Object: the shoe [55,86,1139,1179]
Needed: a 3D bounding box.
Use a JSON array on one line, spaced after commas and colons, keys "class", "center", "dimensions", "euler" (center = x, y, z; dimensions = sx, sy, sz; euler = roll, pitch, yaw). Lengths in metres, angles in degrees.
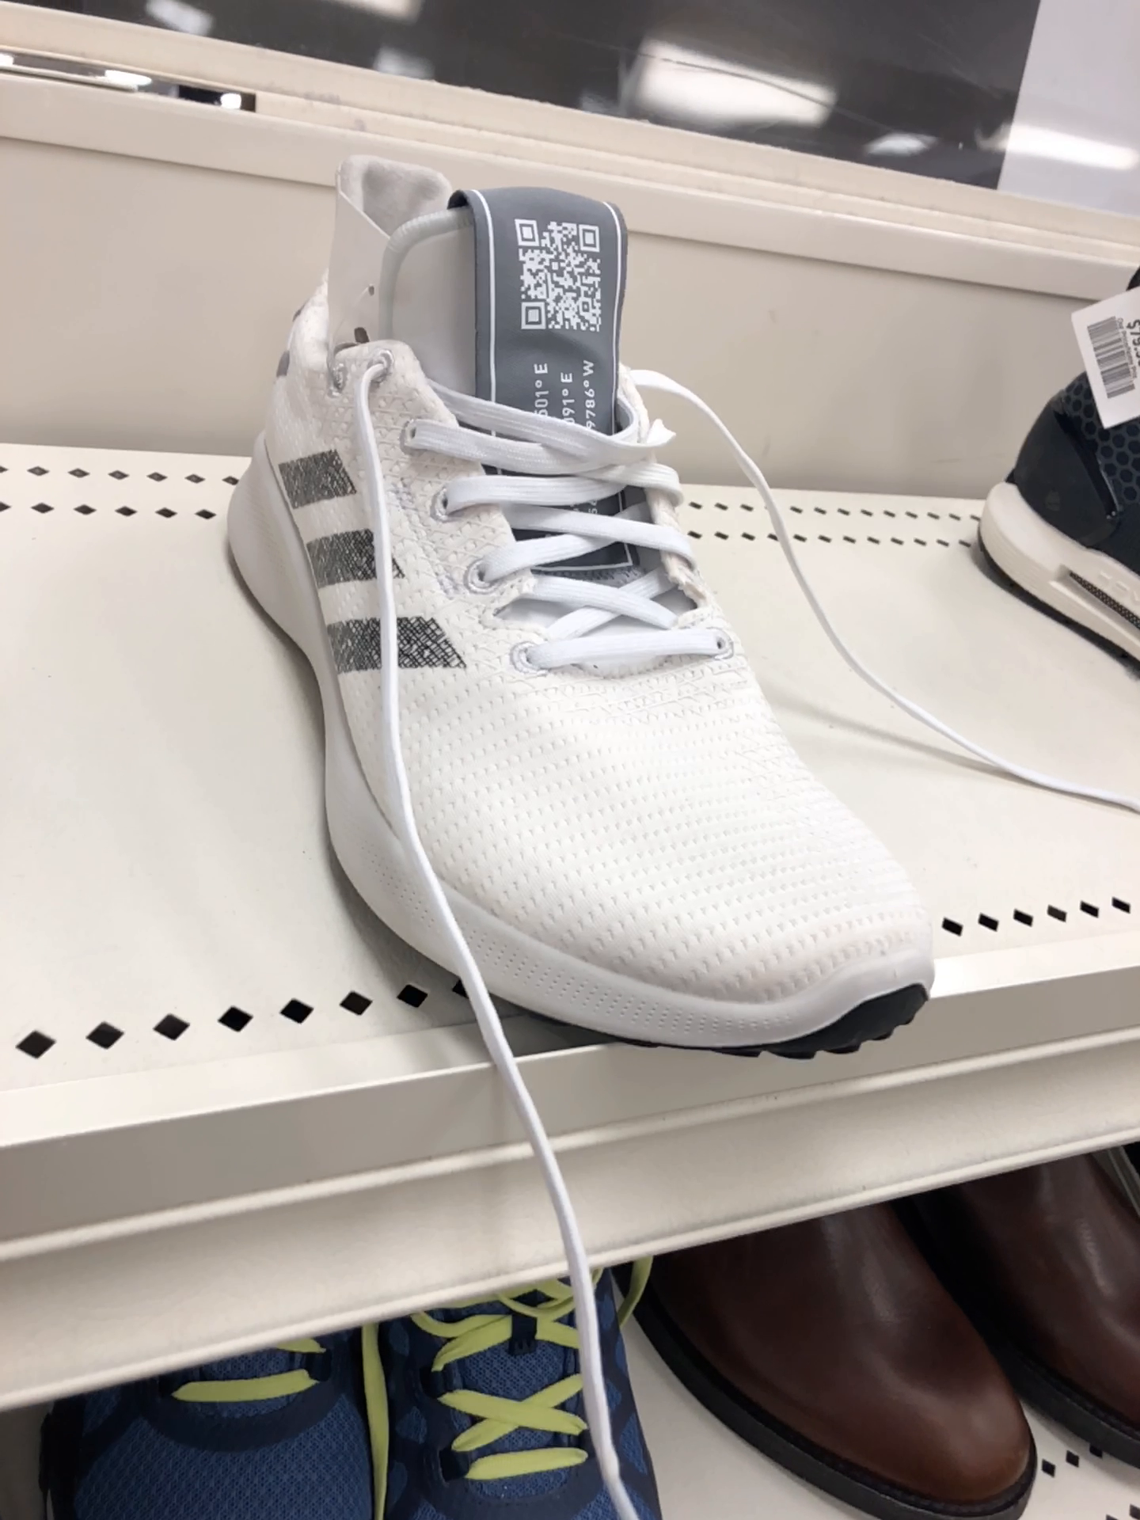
[{"class": "shoe", "center": [-0.036, -0.087, 0.344], "dimensions": [0.128, 0.139, 0.382], "euler": [-6, 29, -31]}]
